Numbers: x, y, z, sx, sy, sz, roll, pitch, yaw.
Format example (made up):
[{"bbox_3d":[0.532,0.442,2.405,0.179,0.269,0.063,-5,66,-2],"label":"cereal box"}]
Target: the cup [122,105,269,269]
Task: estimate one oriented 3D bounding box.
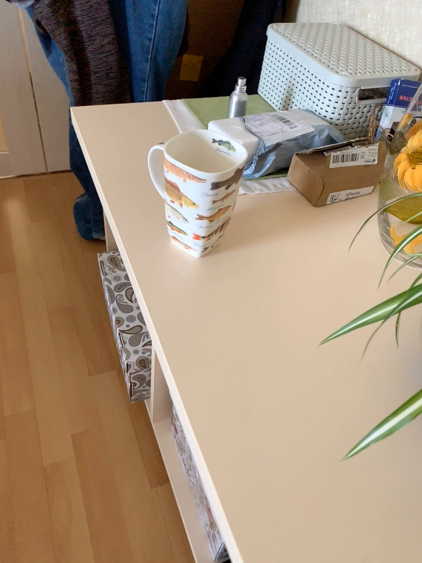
[{"bbox_3d":[-0.025,-0.122,0.545,0.140,0.129,0.101,33,50,22],"label":"cup"}]
